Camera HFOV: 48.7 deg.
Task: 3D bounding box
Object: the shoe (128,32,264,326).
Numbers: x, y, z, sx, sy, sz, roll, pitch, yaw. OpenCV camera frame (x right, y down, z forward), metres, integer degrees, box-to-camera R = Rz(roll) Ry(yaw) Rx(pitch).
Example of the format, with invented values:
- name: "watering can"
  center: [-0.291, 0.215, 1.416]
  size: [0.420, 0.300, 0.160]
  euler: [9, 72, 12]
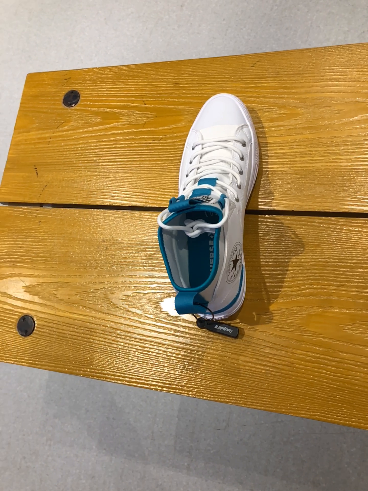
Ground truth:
- name: "shoe"
  center: [0.028, -0.059, 0.477]
  size: [0.108, 0.158, 0.293]
  euler: [-2, 77, 18]
